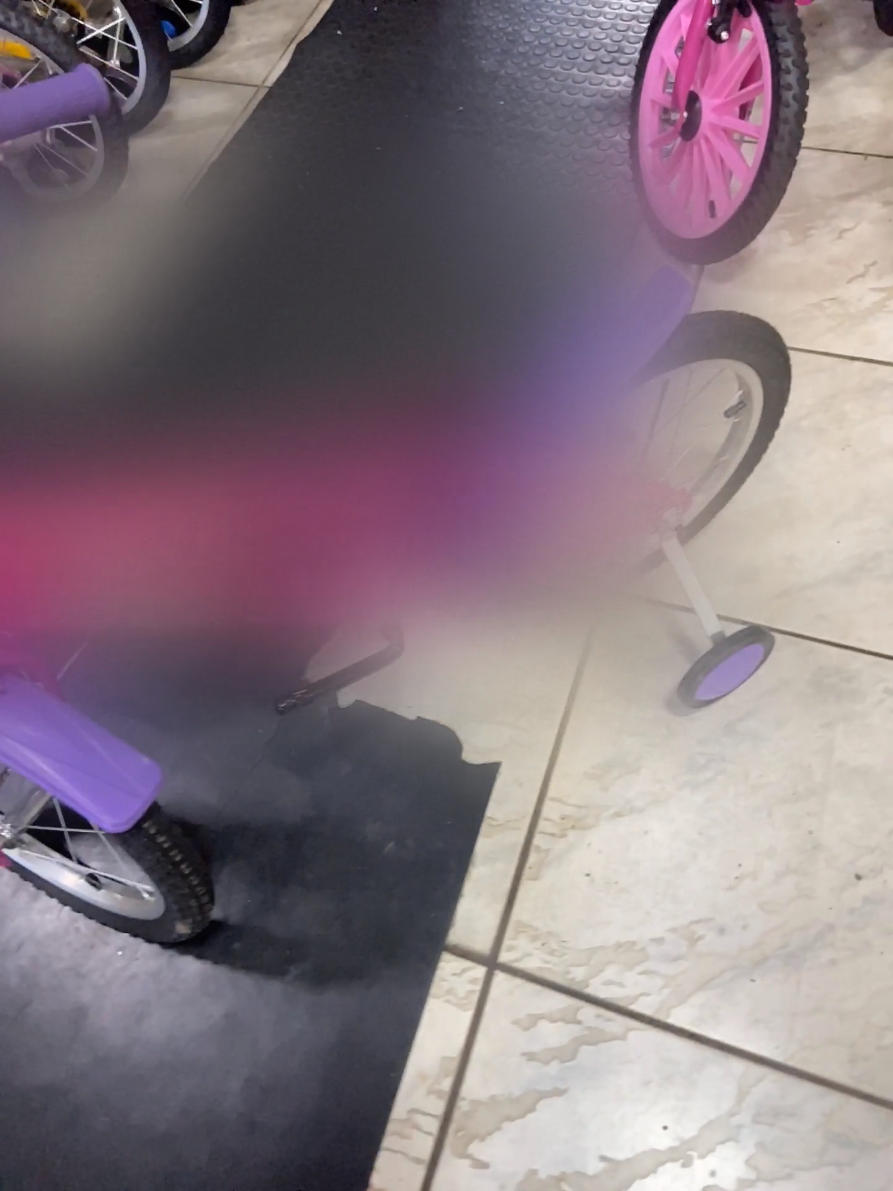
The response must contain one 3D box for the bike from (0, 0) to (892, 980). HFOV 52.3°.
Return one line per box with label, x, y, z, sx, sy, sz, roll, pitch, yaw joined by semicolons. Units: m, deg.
bike;-0.172;-0.137;0.799;0.921;0.704;0.547;-23;59;-3
